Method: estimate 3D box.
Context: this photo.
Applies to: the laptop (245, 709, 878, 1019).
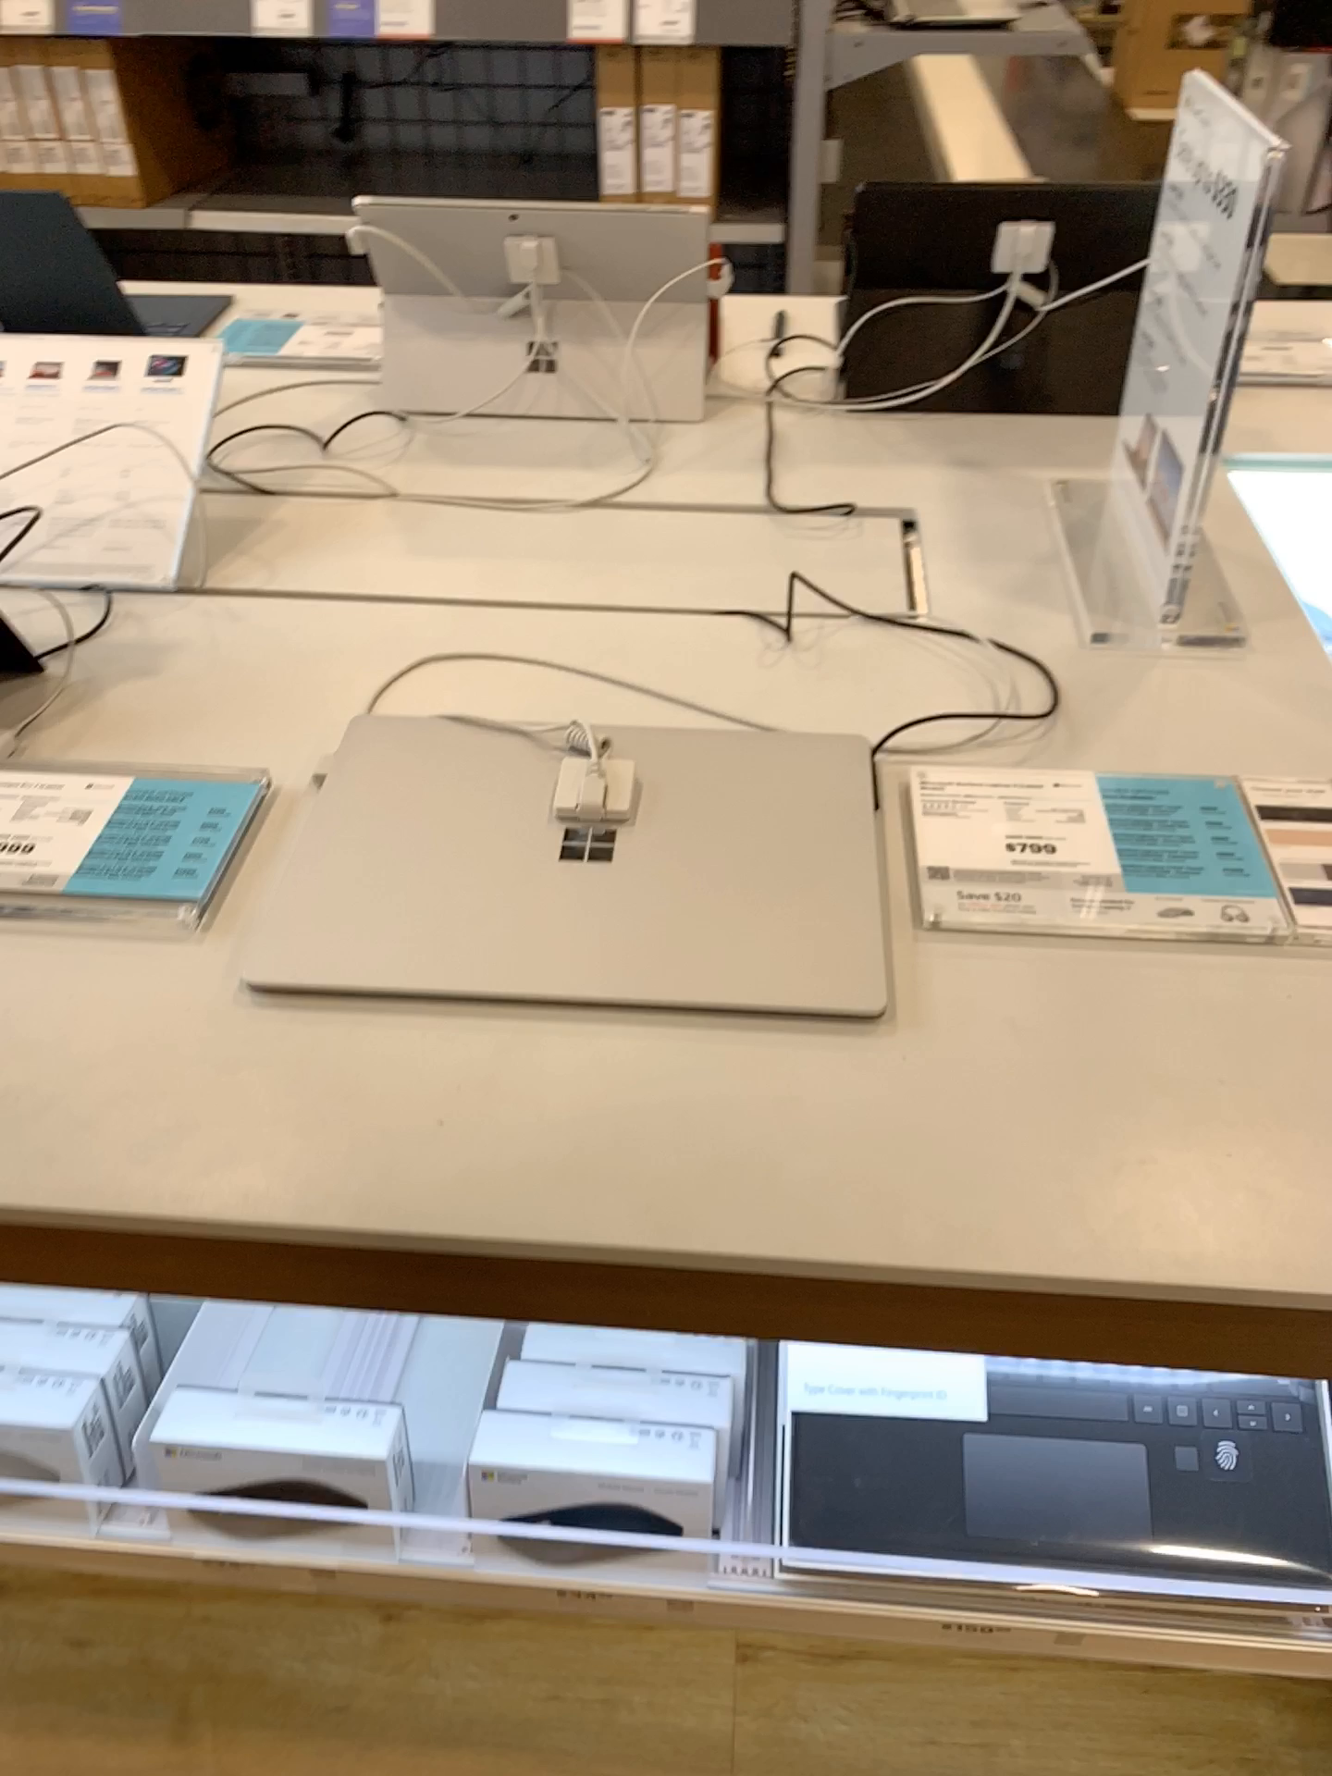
[{"bbox_3d":[-0.043,-0.022,0.724,0.297,0.008,0.221,3,42,2],"label":"laptop"}]
